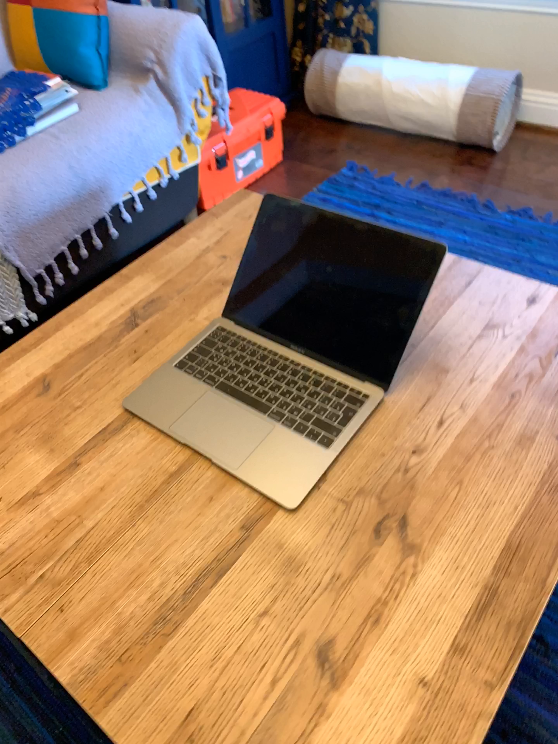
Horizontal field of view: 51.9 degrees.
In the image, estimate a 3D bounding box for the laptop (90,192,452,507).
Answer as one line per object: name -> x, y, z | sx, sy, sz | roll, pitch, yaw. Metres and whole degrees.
laptop -> 0.002, -0.059, 0.761 | 0.291, 0.141, 0.353 | 27, 56, 30
